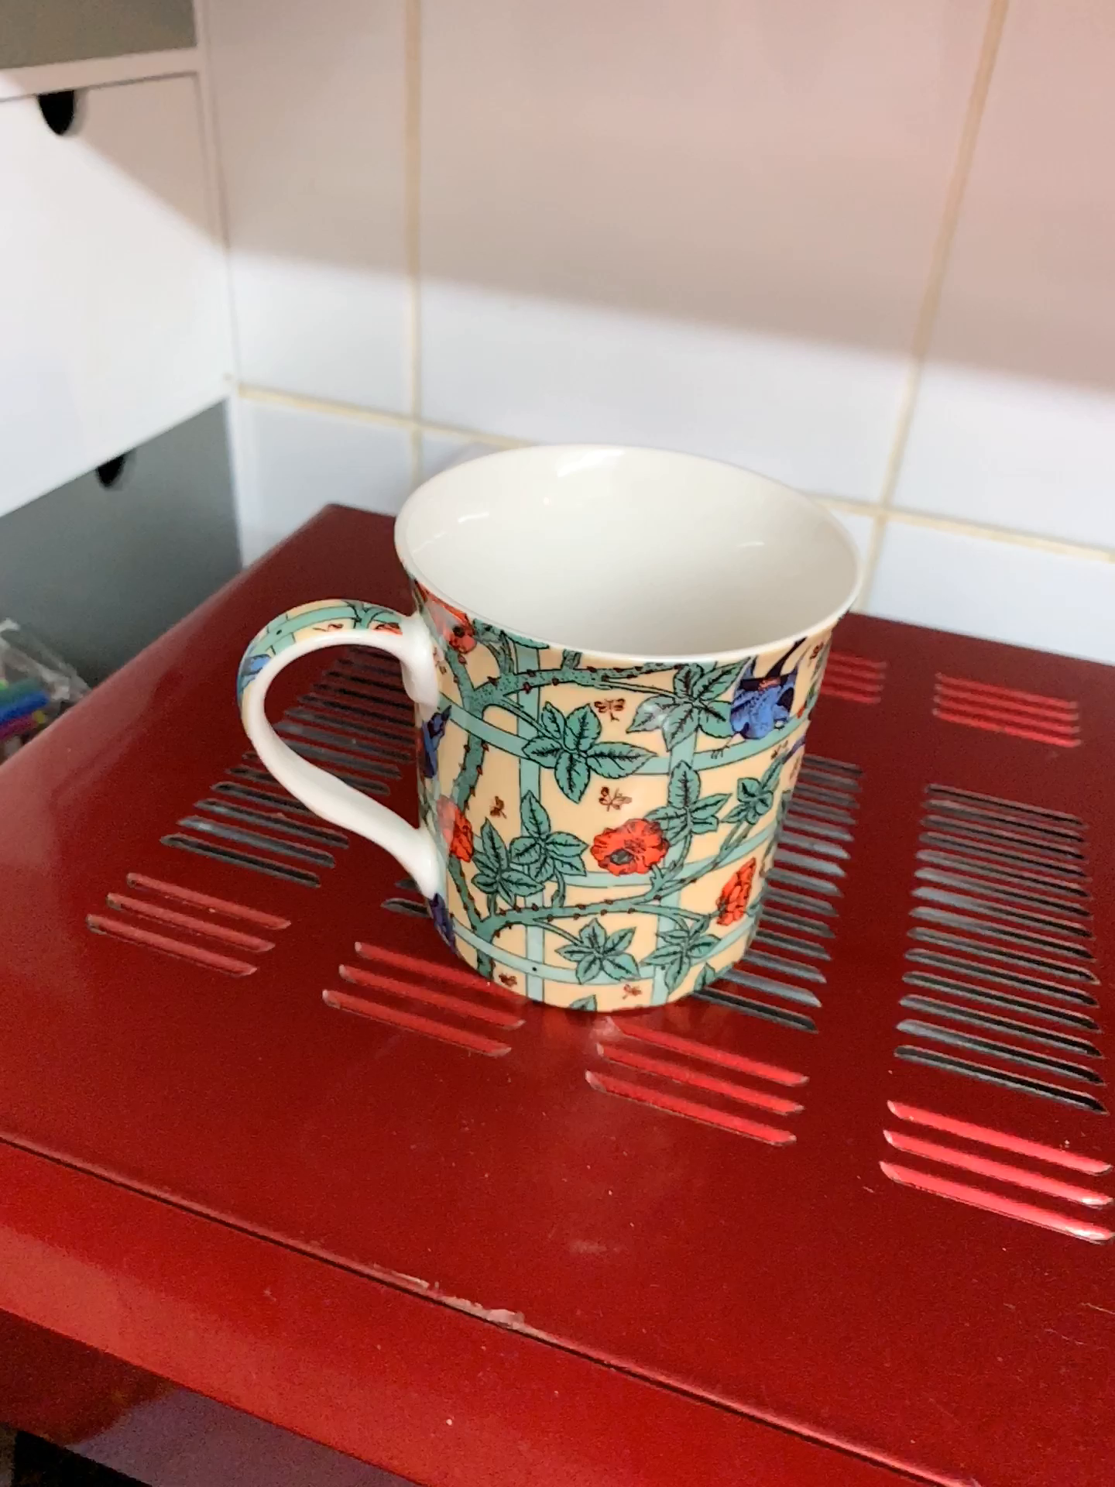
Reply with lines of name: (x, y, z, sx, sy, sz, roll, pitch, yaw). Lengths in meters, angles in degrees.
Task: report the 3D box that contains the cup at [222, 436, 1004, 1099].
cup: (0.000, -0.002, 0.212, 0.110, 0.079, 0.081, -4, 36, -13)
